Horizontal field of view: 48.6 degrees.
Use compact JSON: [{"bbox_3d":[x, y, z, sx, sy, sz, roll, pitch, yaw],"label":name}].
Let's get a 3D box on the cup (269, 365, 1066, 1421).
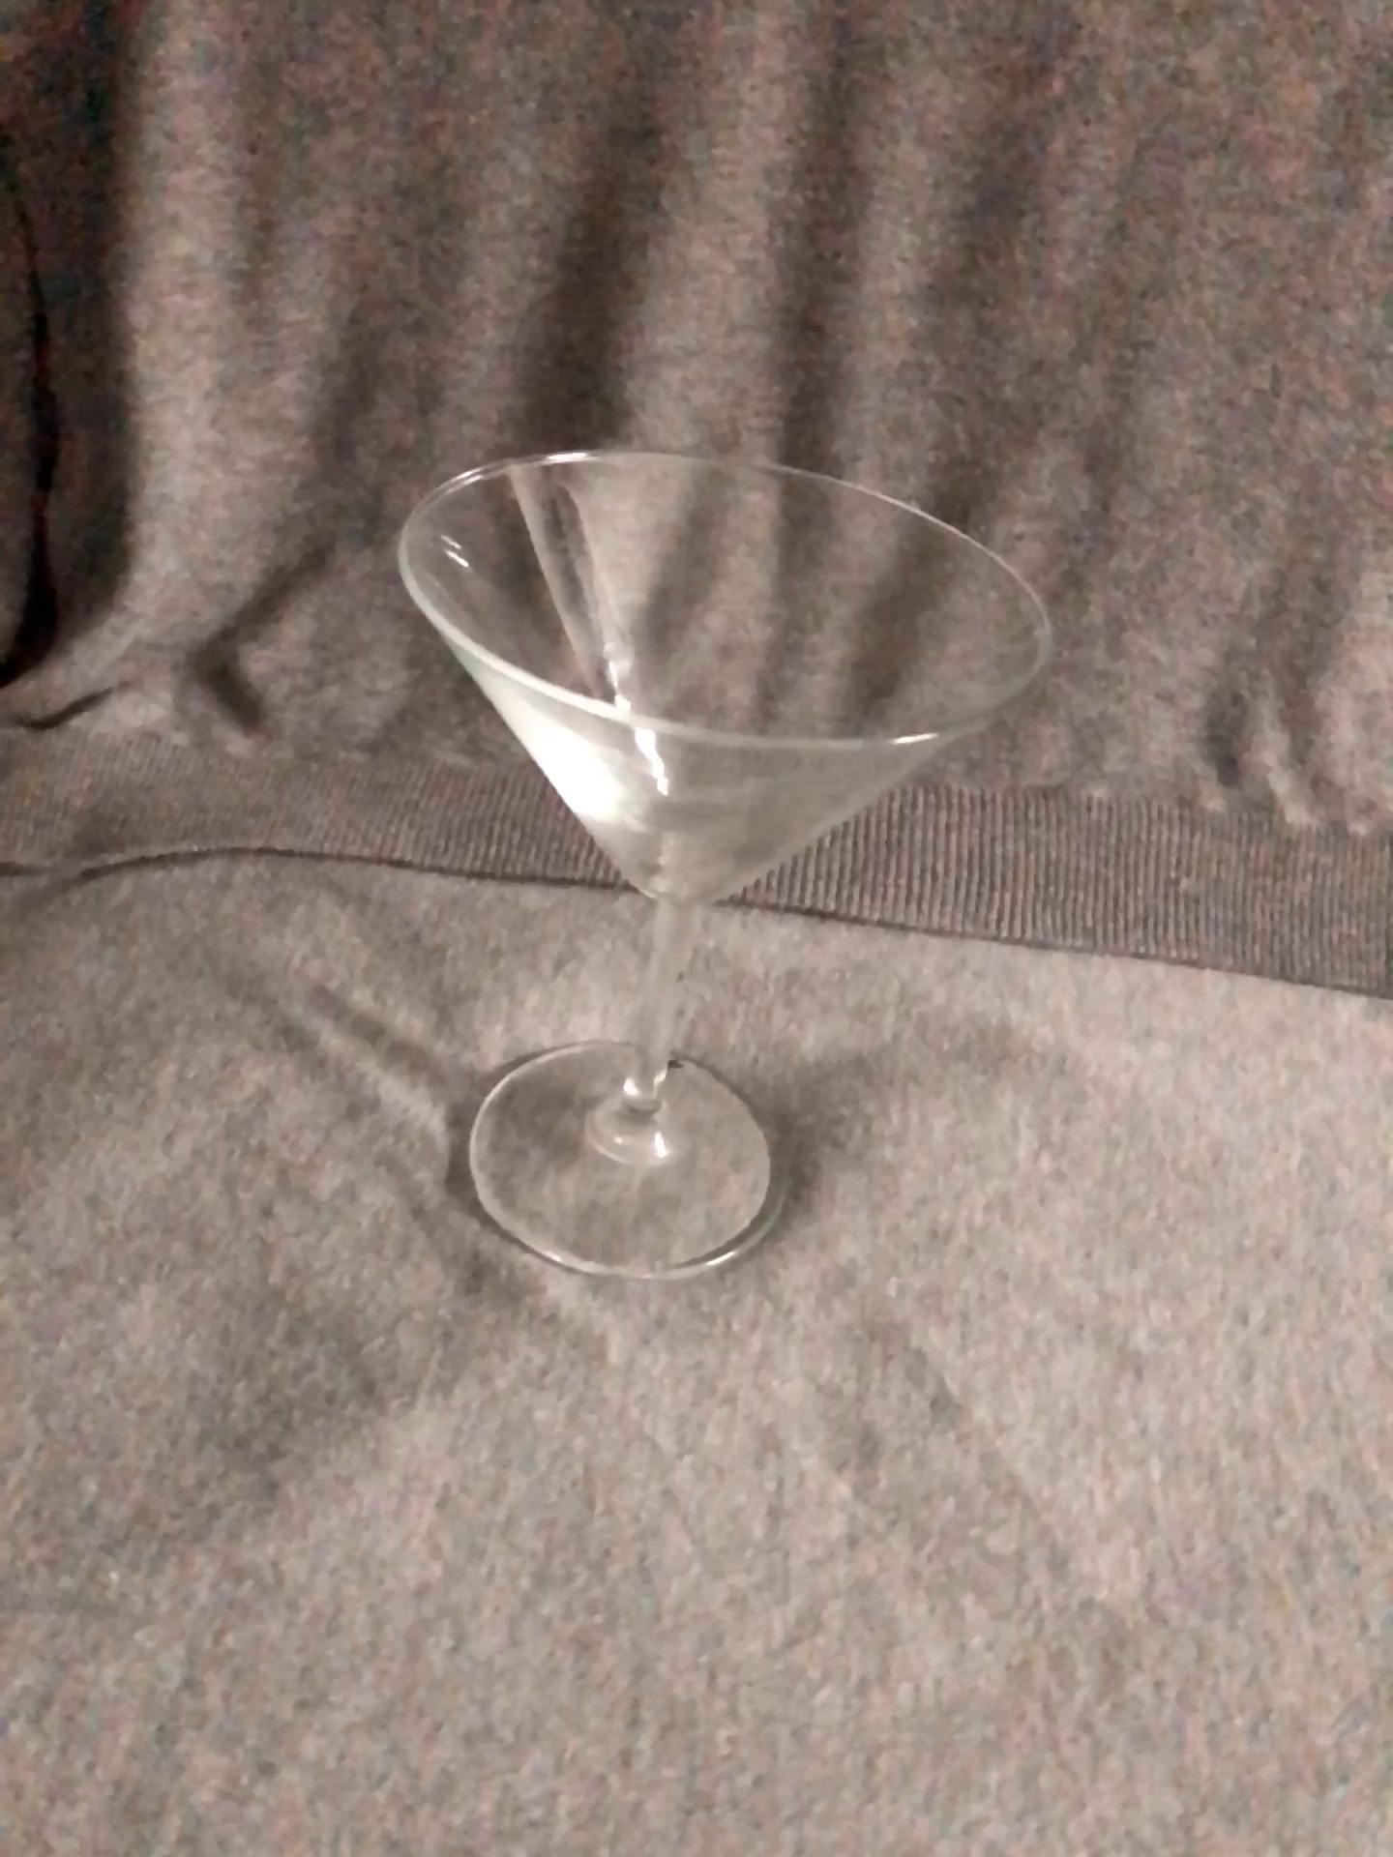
[{"bbox_3d":[-0.011,-0.005,0.311,0.113,0.157,0.112,8,39,-7],"label":"cup"}]
